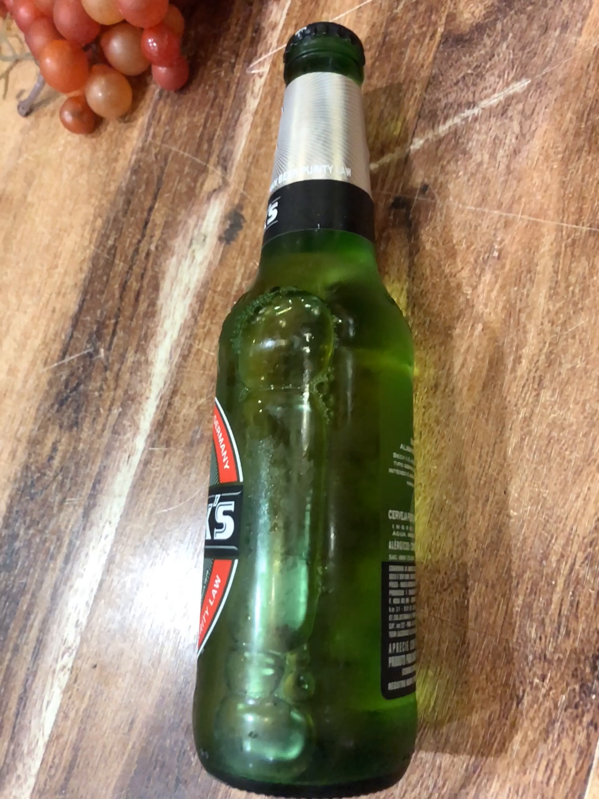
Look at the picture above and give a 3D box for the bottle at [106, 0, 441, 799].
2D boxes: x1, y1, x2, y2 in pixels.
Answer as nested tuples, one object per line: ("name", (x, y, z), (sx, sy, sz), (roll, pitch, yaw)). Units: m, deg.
("bottle", (0.001, -0.012, 0.203), (0.070, 0.060, 0.230), (-3, 75, 21))
